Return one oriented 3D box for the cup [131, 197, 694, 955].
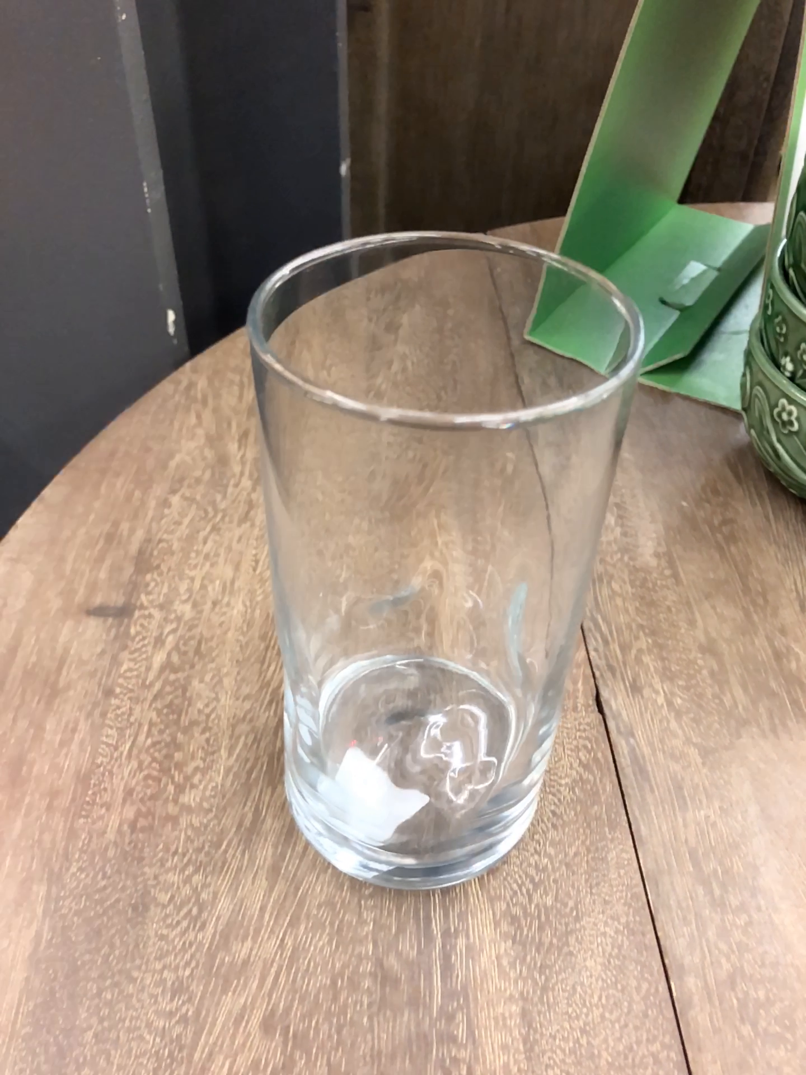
[{"bbox_3d":[0.005,0.012,0.211,0.078,0.144,0.082,1,40,-1],"label":"cup"}]
